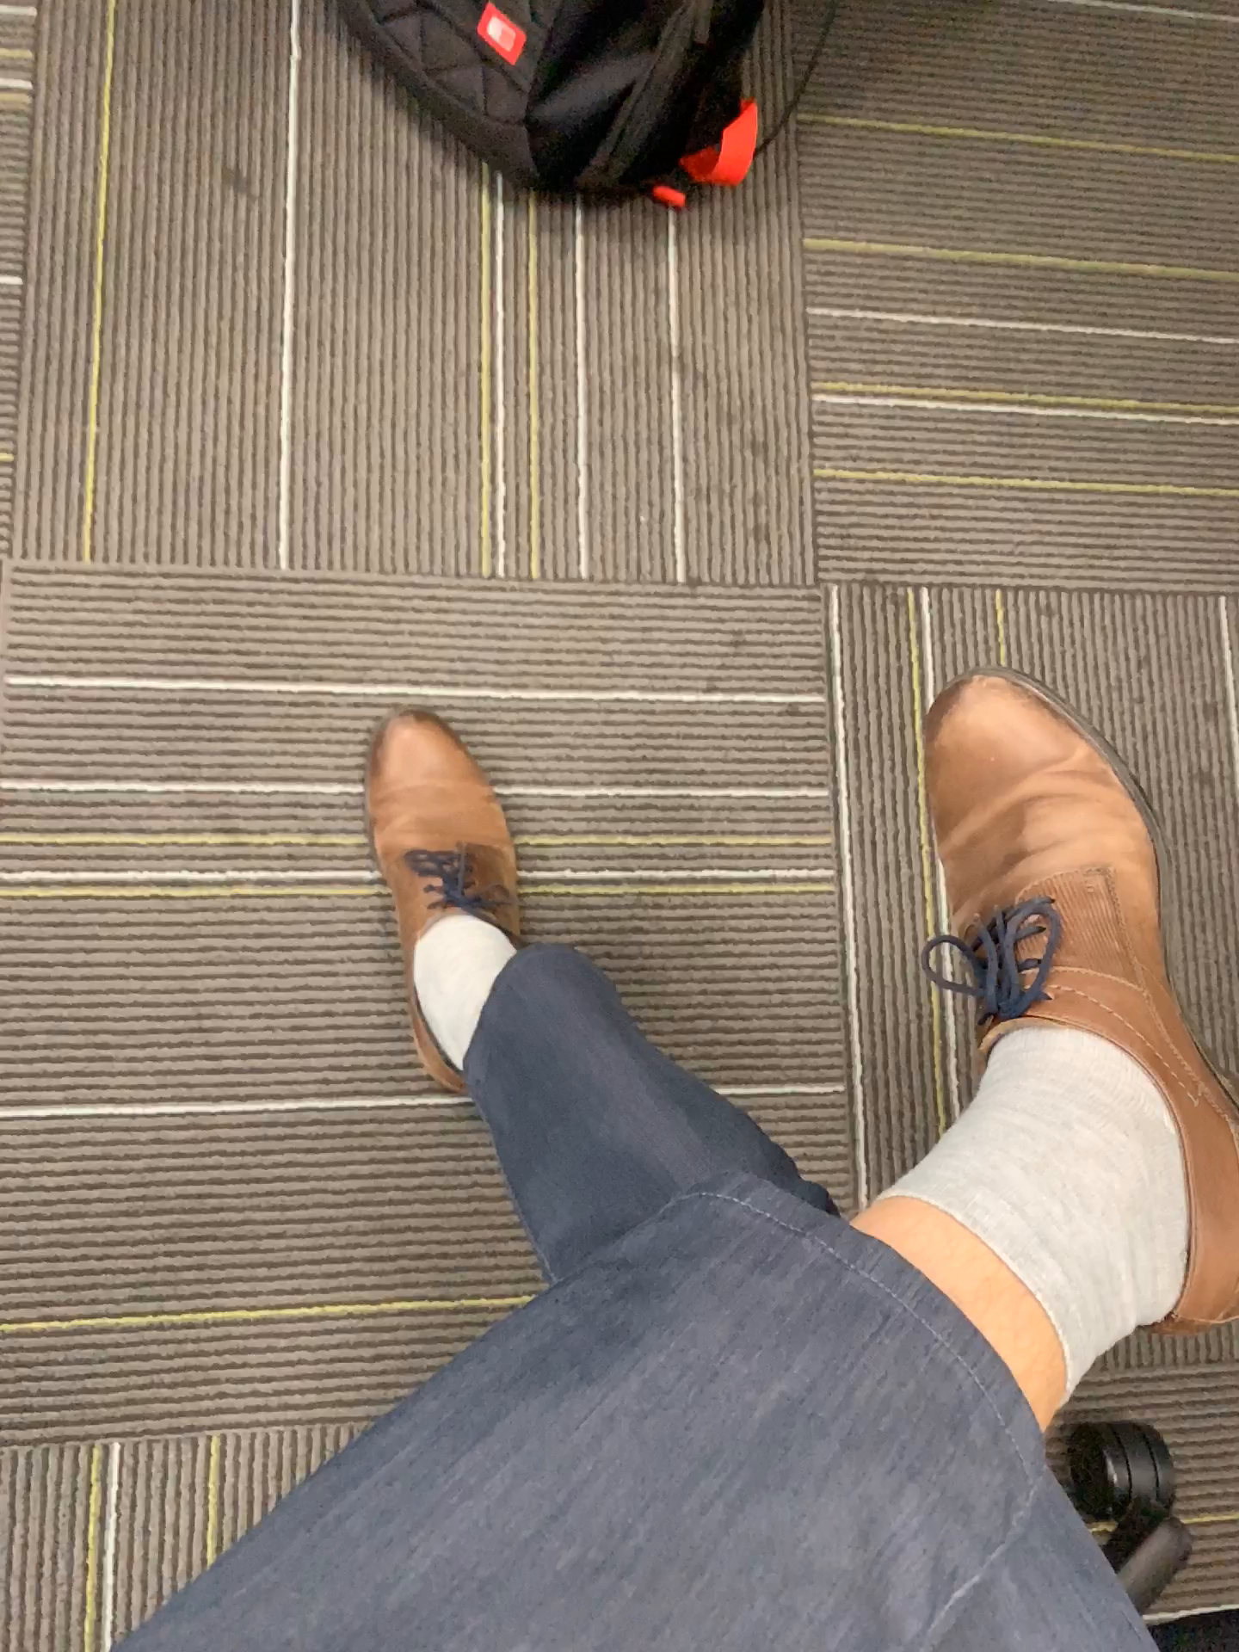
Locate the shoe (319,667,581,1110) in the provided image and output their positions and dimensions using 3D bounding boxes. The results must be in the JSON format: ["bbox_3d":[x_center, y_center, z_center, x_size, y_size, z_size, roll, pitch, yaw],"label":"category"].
[{"bbox_3d":[-0.117,0.042,0.874,0.112,0.068,0.276,-13,84,-11],"label":"shoe"}]

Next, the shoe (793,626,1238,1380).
[{"bbox_3d":[0.193,0.073,0.551,0.082,0.114,0.293,-10,75,-40],"label":"shoe"}]
